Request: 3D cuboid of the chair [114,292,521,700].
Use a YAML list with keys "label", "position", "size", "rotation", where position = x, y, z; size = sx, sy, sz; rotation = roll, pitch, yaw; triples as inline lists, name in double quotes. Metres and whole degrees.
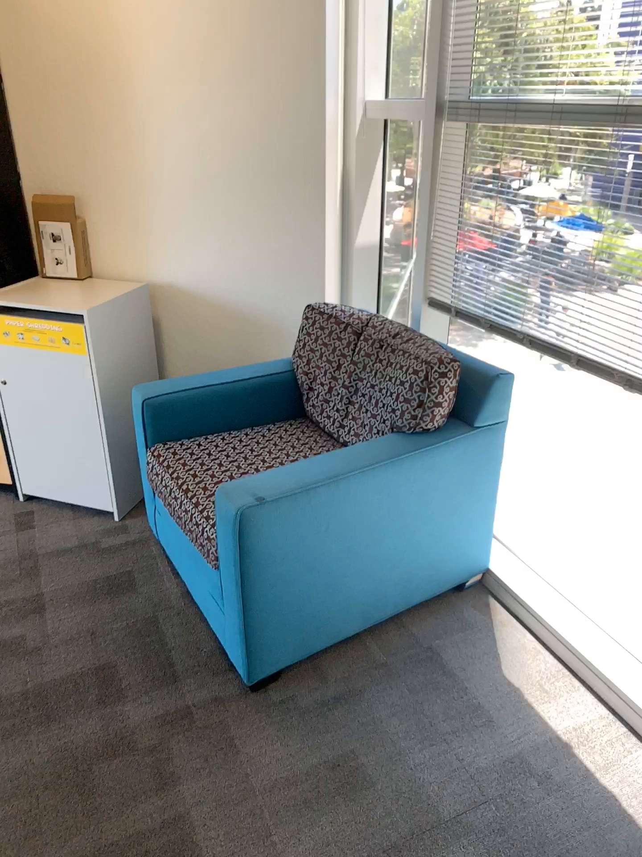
- label: "chair"
  position: [-0.057, 0.101, 2.199]
  size: [0.910, 0.805, 0.935]
  rotation: [-15, 29, -27]
